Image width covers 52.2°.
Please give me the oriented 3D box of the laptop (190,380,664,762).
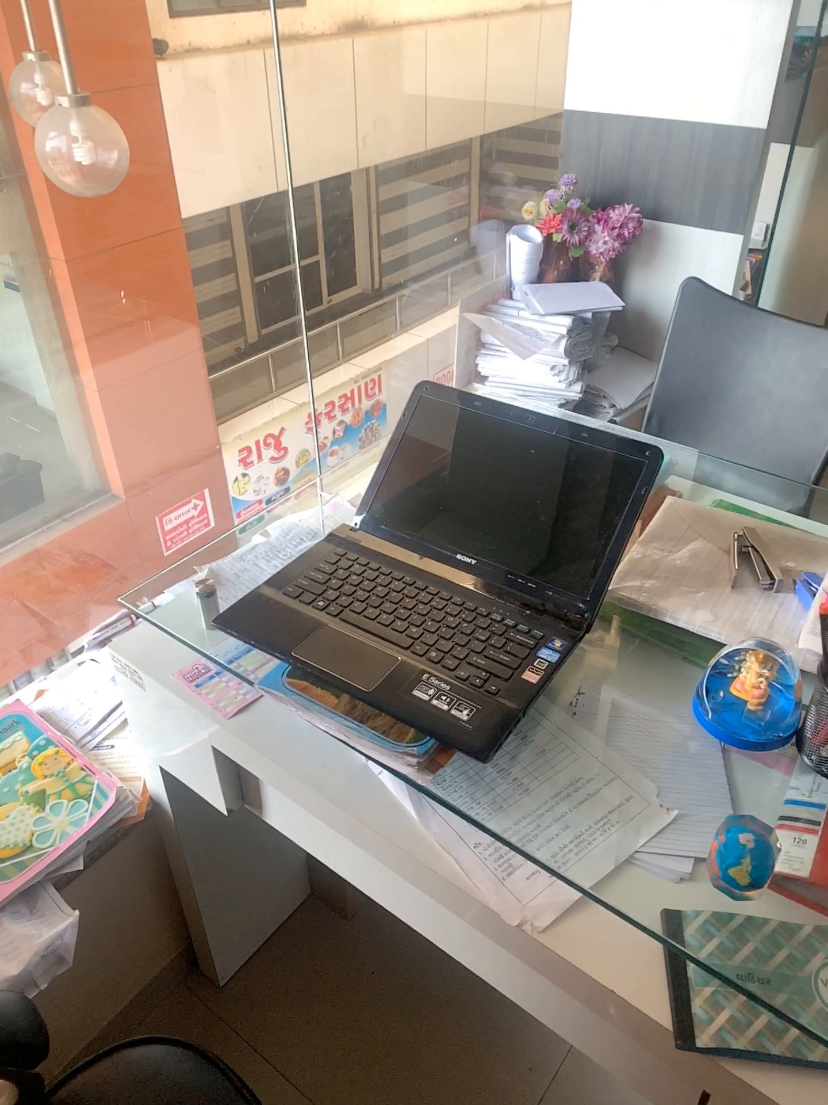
[{"bbox_3d":[0.027,-0.017,0.780,0.286,0.111,0.337,21,40,27],"label":"laptop"}]
